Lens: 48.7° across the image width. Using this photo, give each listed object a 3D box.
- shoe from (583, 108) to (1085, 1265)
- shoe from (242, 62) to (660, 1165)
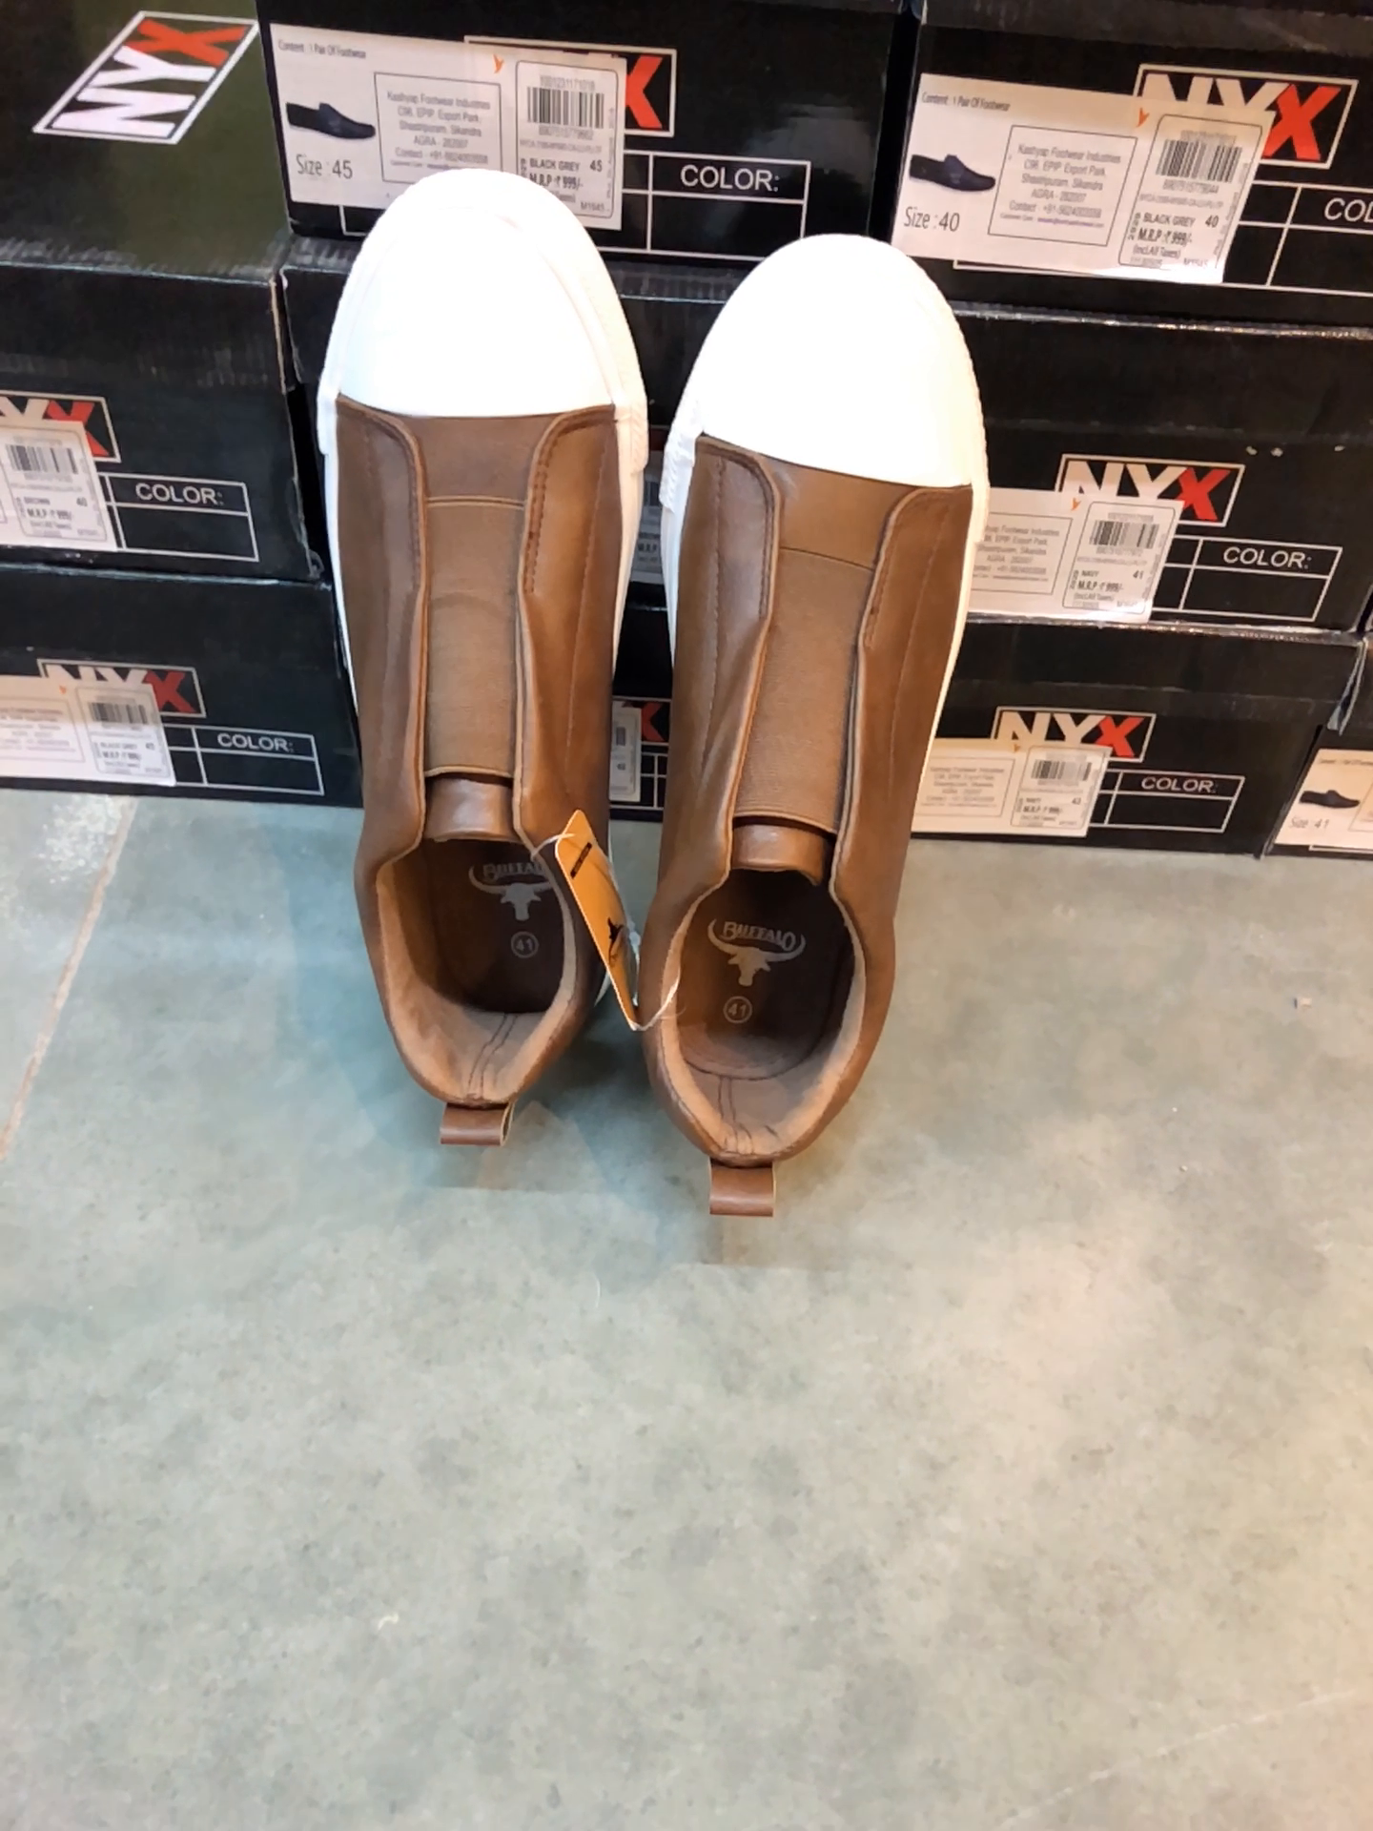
[{"bbox_3d":[0.033,-0.056,0.419,0.096,0.272,0.101,5,10,0],"label":"shoe"},{"bbox_3d":[-0.061,-0.077,0.432,0.098,0.269,0.103,2,11,-2],"label":"shoe"}]
